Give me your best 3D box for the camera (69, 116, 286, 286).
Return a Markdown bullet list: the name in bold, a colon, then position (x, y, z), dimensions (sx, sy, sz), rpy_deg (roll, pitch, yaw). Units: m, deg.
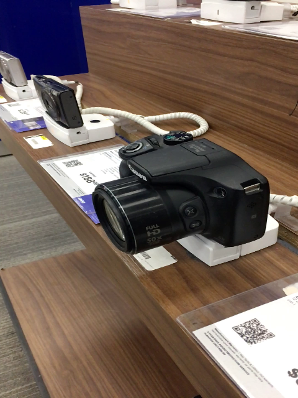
- **camera**: position (0.014, -0.006, 0.307), dimensions (0.101, 0.076, 0.119), rpy_deg (-17, 36, -20)
